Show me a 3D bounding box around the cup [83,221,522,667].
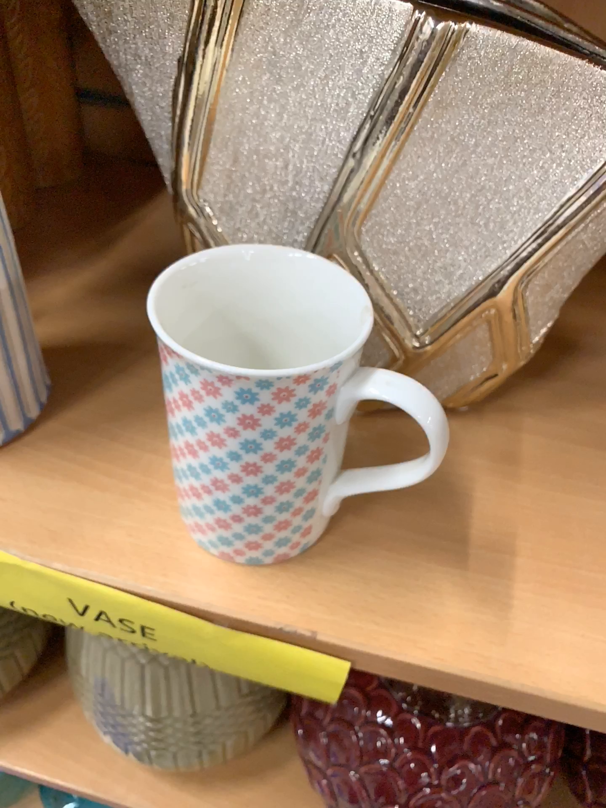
[{"bbox_3d":[-0.001,0.012,0.243,0.120,0.110,0.080,21,43,17],"label":"cup"}]
